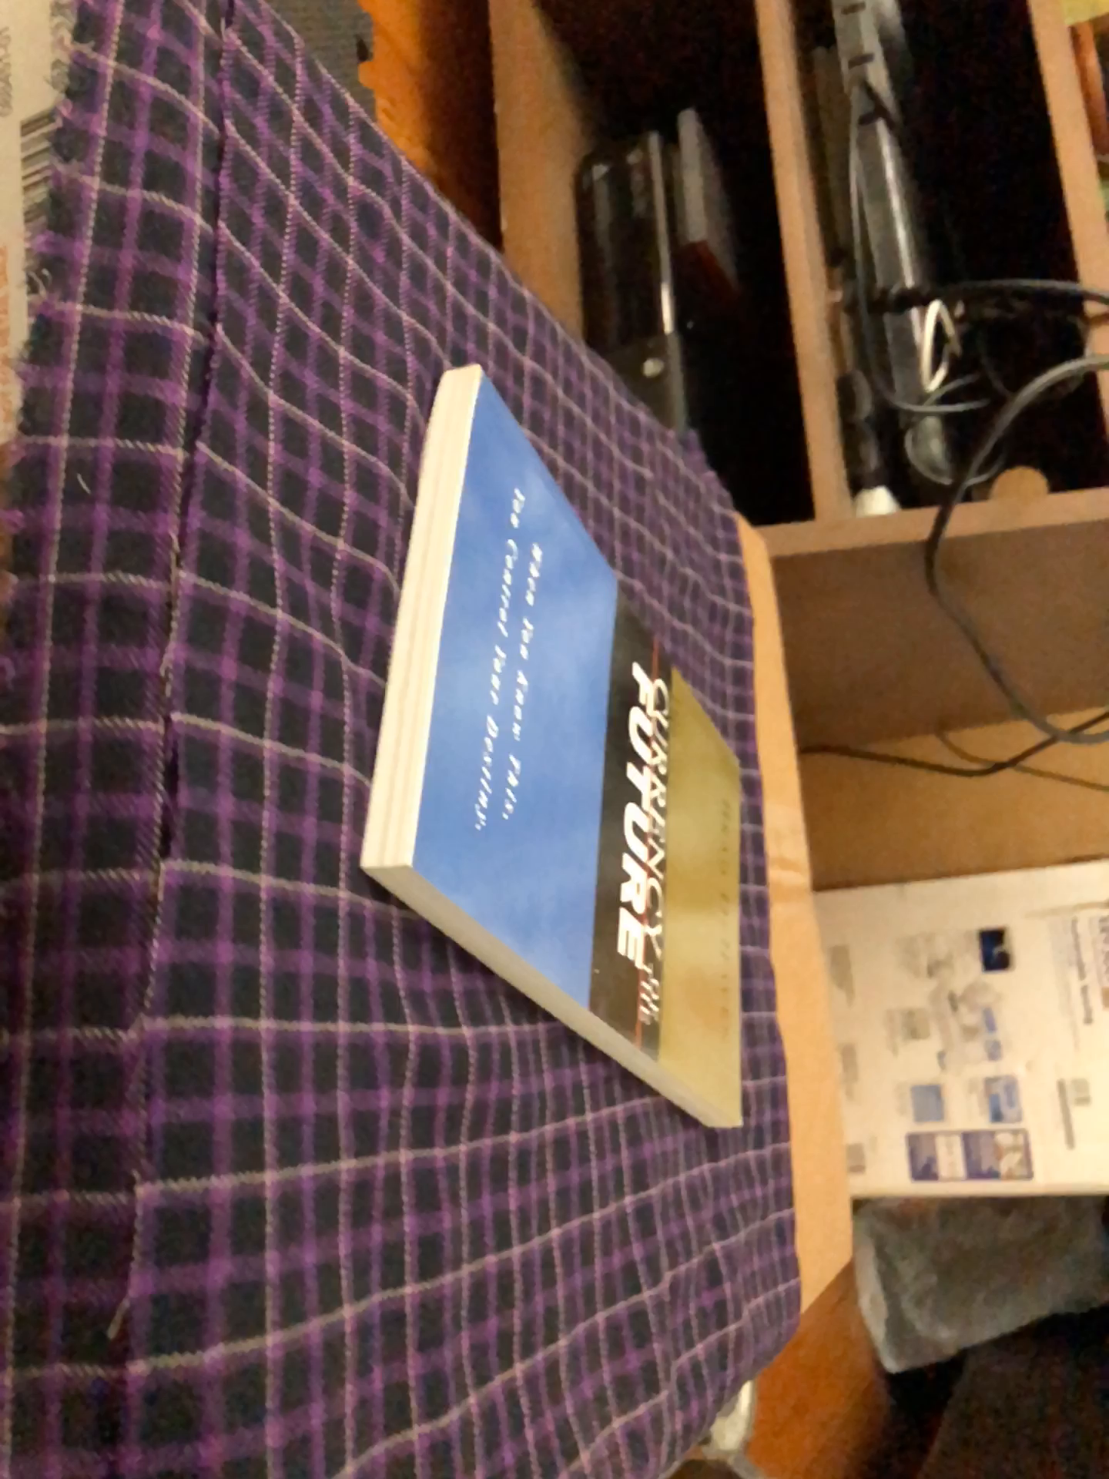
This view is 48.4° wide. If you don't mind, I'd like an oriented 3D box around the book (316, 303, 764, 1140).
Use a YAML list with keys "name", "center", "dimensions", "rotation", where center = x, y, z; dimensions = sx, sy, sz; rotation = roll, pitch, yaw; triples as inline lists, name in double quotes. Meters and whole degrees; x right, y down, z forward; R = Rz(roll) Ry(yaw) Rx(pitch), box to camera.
- name: "book"
  center: [0.016, 0.012, 0.353]
  dimensions: [0.221, 0.020, 0.150]
  rotation: [48, 39, -50]
